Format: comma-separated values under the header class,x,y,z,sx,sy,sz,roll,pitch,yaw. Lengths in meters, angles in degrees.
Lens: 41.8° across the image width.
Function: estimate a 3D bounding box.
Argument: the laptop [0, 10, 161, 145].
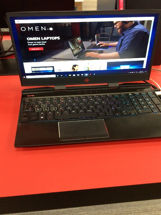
class,x,y,z,sx,sy,sz,roll,pitch,yaw
laptop,0.036,-0.087,0.515,0.400,0.220,0.273,-4,41,-4
